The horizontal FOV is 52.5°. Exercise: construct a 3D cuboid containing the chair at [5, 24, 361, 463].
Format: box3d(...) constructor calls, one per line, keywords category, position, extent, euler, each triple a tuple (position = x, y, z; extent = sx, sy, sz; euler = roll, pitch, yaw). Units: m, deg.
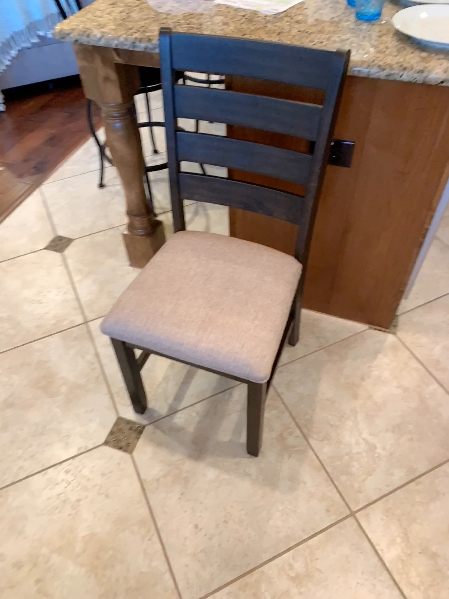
box3d(category="chair", position=(-0.019, -0.085, 1.159), extent=(0.467, 0.910, 0.526), euler=(14, 51, 15))
